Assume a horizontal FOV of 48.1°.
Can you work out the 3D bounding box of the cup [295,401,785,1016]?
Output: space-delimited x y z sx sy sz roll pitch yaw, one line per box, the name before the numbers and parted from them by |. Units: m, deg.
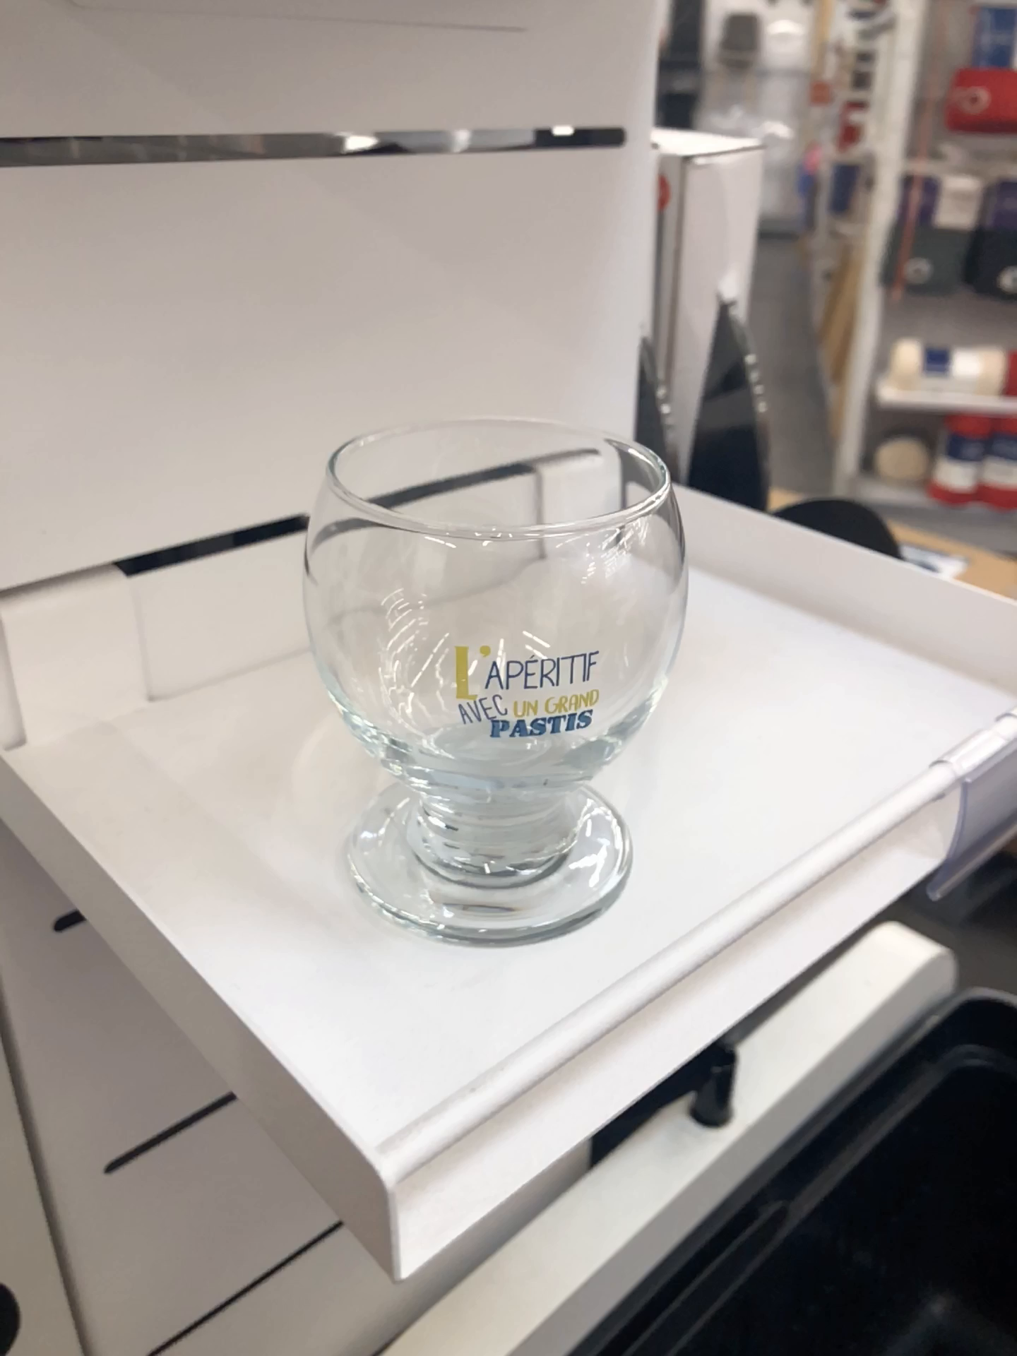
cup | 0.000 0.001 0.236 0.073 0.093 0.079 1 27 0
